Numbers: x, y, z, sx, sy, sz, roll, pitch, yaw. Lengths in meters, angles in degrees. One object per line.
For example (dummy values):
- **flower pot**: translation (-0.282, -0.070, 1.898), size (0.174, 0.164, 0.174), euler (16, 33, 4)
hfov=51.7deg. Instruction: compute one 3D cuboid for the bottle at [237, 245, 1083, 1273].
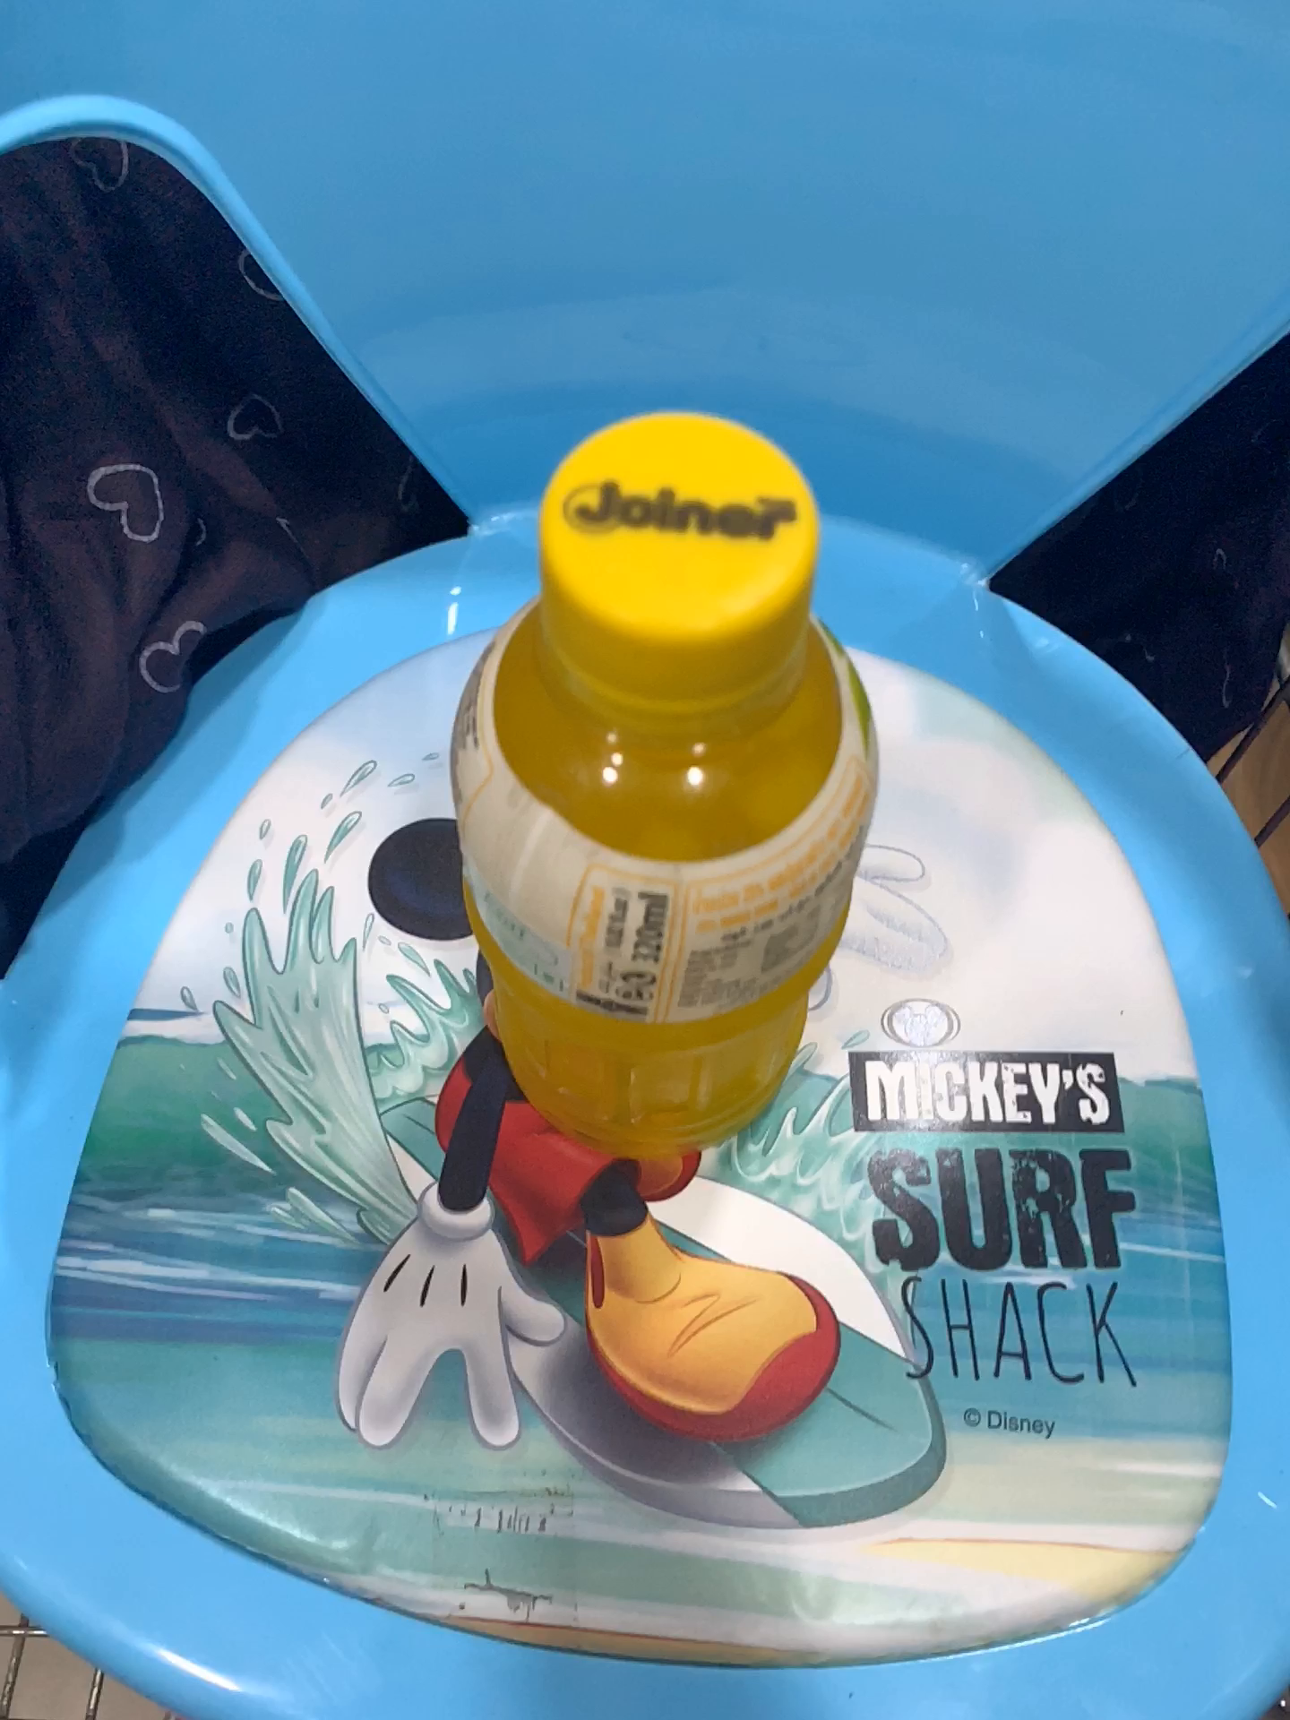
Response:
- **bottle**: translation (0.002, 0.000, 0.193), size (0.060, 0.140, 0.060), euler (0, 60, 0)
